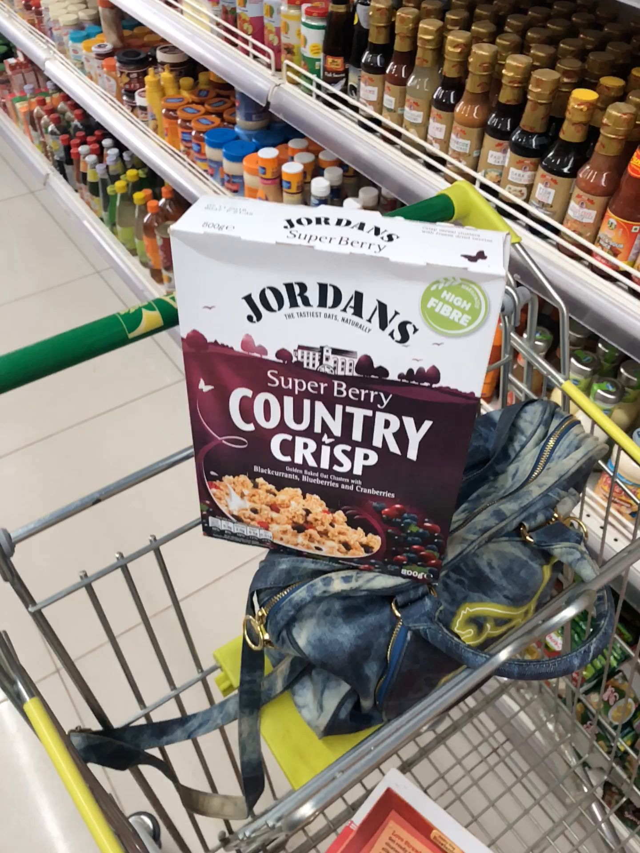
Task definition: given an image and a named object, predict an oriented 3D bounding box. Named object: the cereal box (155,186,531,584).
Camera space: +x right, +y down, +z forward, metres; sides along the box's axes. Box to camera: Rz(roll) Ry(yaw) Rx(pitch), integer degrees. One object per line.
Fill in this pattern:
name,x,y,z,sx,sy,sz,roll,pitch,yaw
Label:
cereal box,0.007,-0.012,0.428,0.180,0.229,0.050,9,41,6
